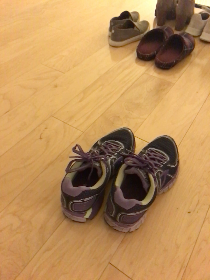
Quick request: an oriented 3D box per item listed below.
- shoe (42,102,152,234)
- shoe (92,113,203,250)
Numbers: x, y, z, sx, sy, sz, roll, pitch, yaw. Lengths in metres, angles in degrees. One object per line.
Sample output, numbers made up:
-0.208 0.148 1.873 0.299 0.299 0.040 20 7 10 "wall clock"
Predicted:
-0.001 0.046 0.539 0.110 0.099 0.292 23 51 19 "shoe"
0.105 0.070 0.515 0.120 0.079 0.292 26 52 21 "shoe"
